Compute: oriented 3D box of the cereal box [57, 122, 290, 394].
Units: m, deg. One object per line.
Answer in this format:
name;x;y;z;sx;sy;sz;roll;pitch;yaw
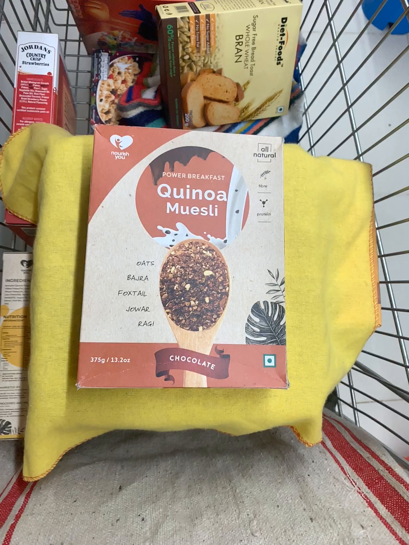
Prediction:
cereal box;-0.022;-0.010;0.355;0.170;0.060;0.210;2;80;-5
